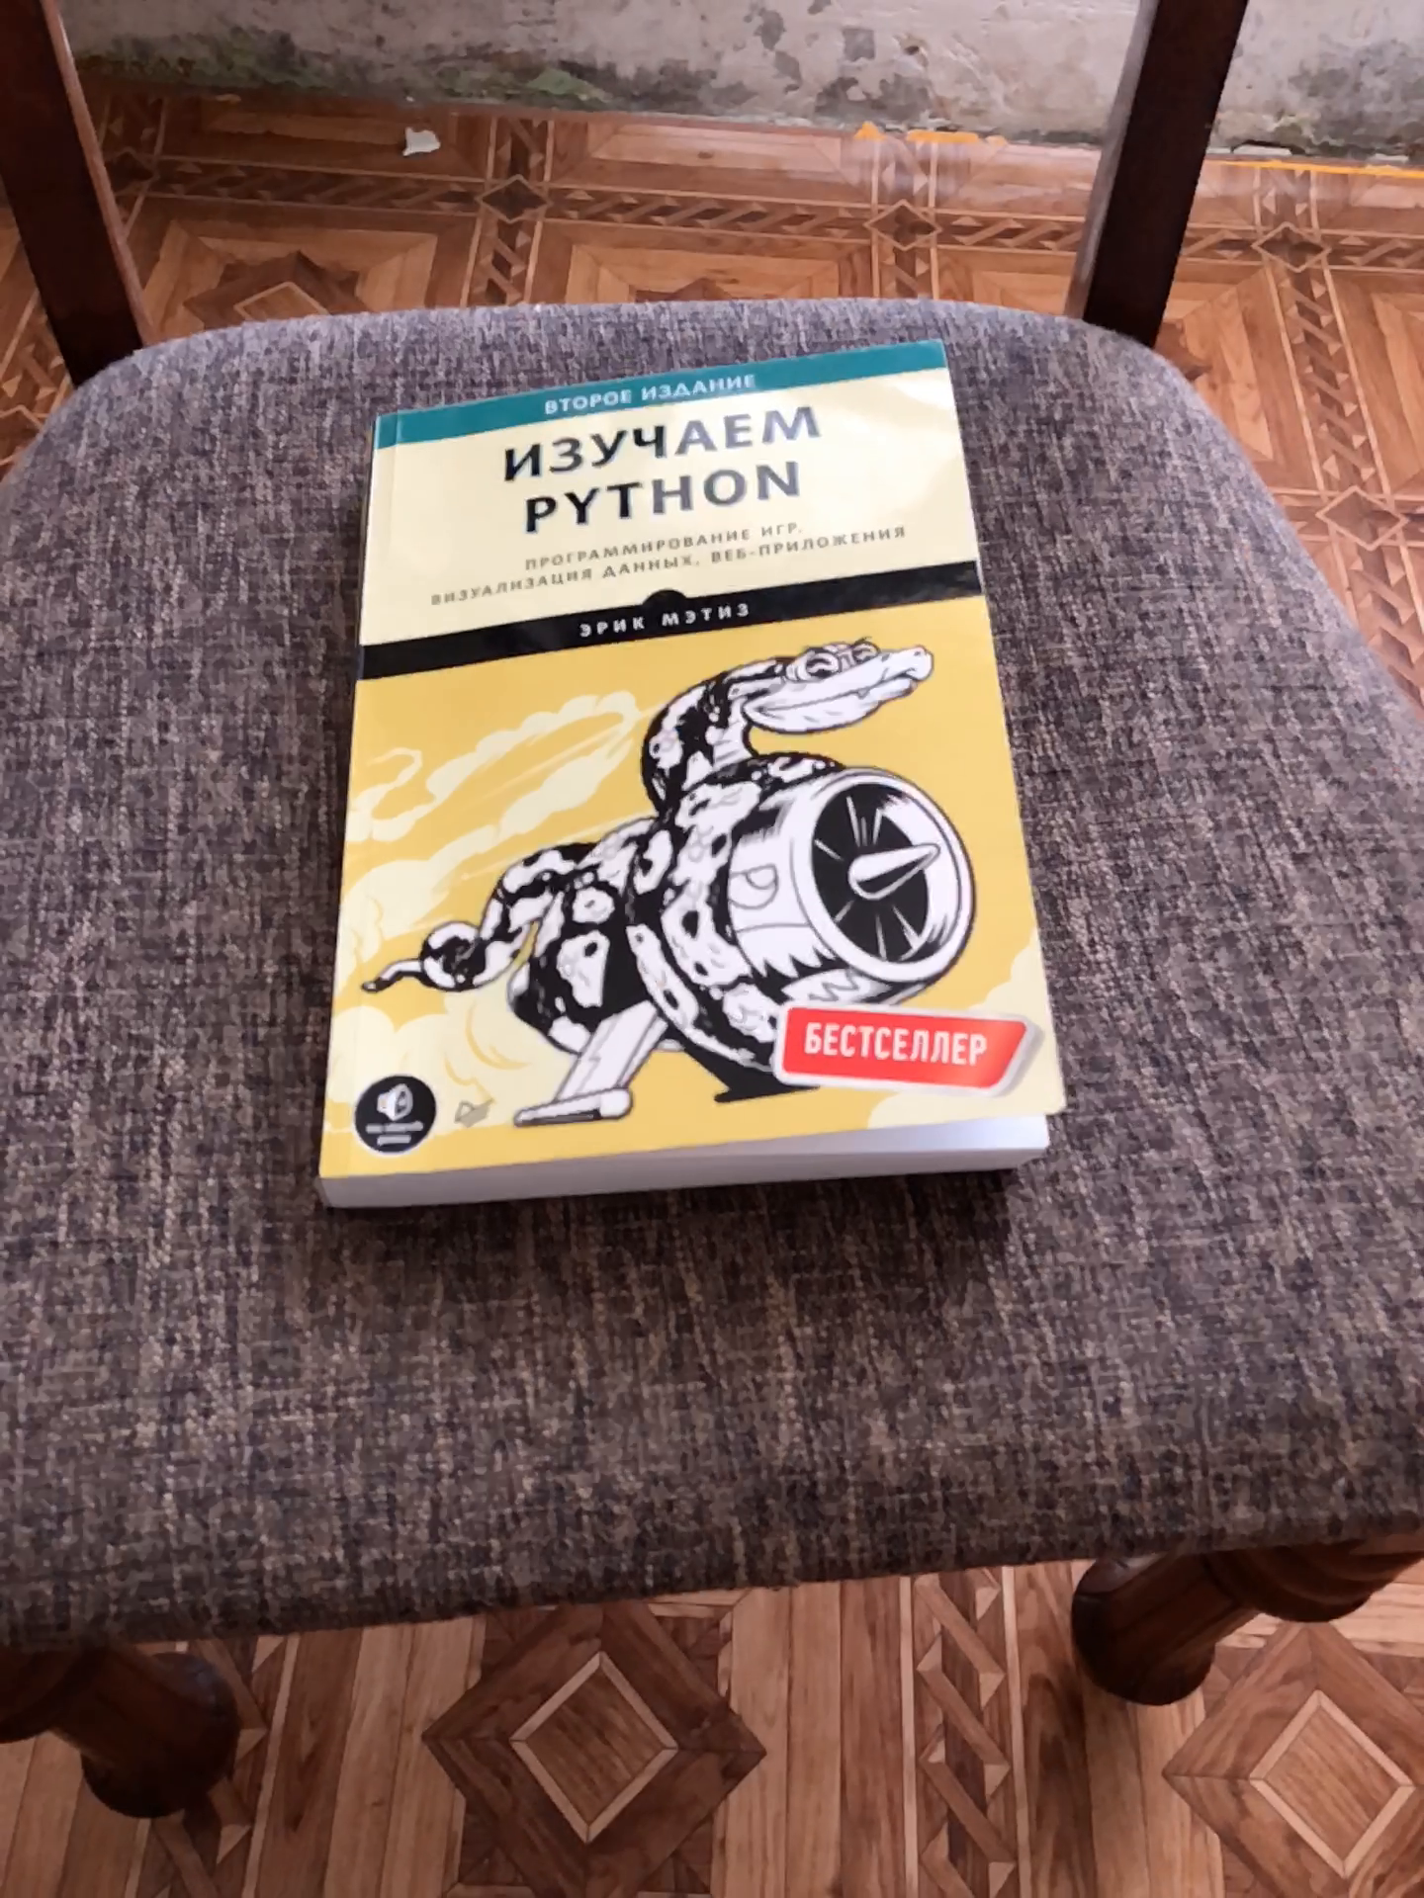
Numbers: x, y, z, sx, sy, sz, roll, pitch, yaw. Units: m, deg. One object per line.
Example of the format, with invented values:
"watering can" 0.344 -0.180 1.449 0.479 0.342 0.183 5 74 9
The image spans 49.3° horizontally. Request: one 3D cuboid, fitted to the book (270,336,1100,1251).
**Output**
"book" -0.009 -0.049 0.388 0.167 0.040 0.234 -5 59 5
